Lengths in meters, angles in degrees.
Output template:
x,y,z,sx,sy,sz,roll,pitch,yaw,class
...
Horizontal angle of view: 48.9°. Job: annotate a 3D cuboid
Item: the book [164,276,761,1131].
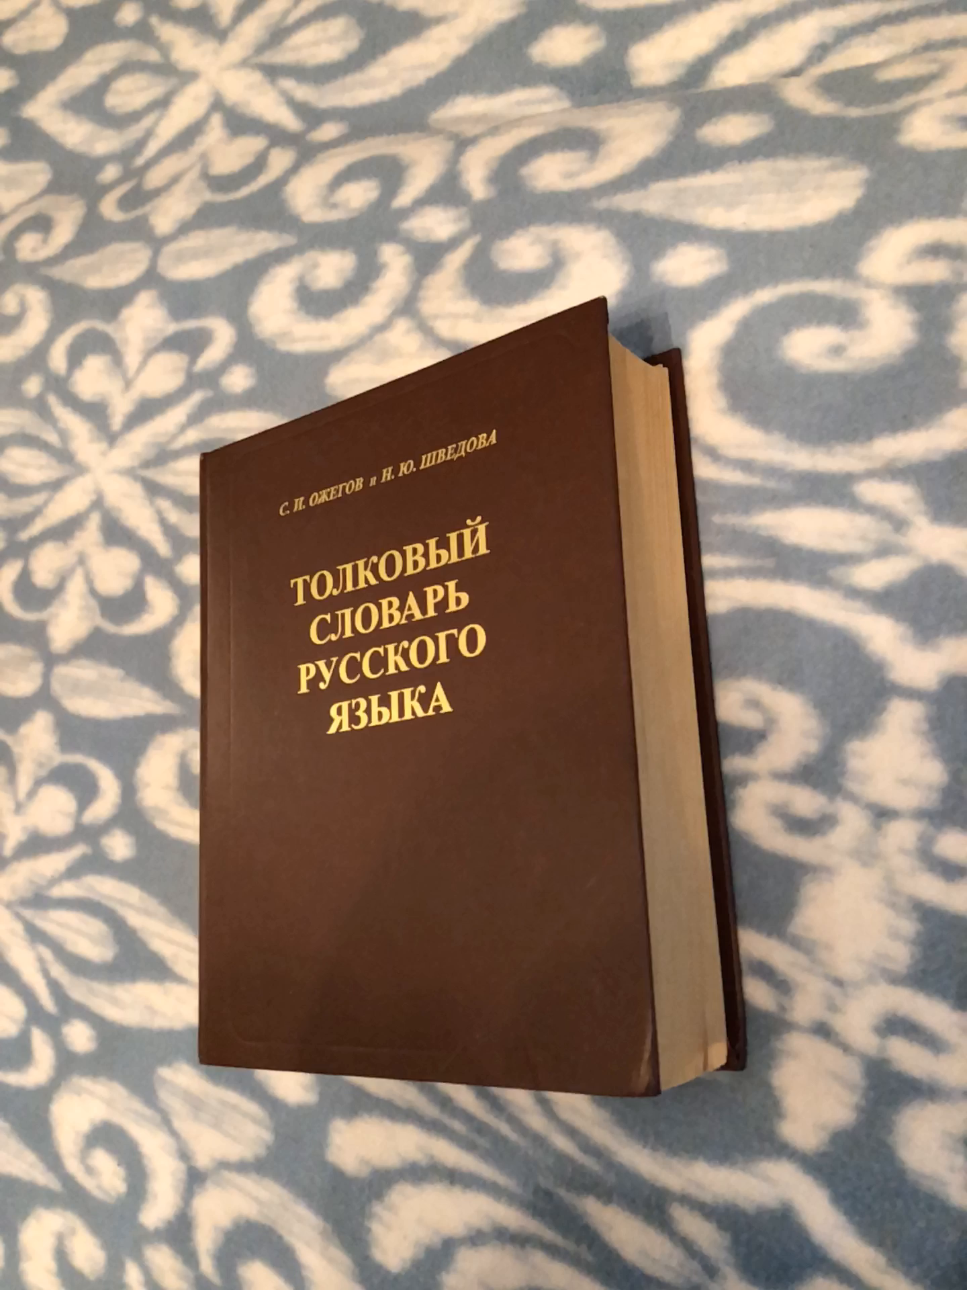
x,y,z,sx,sy,sz,roll,pitch,yaw,class
-0.022,0.029,0.419,0.221,0.067,0.270,-11,74,33,book
